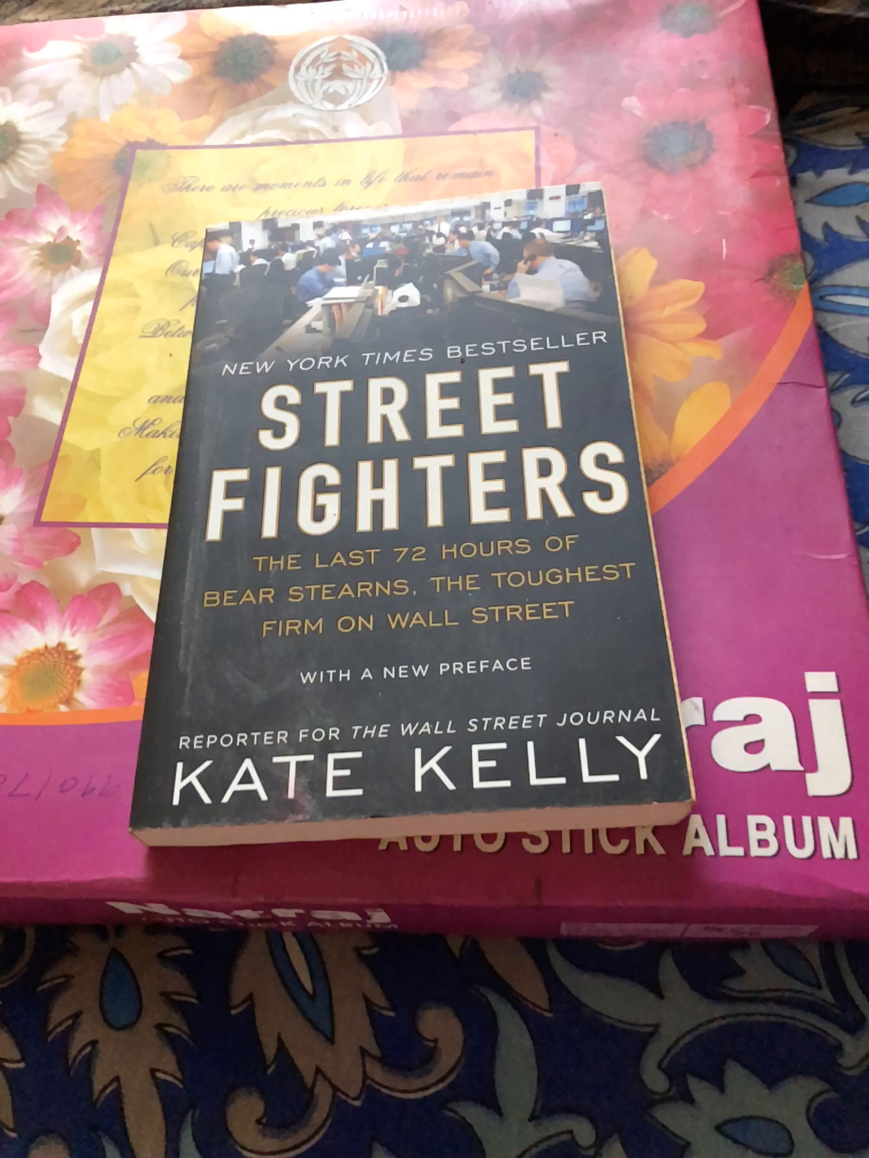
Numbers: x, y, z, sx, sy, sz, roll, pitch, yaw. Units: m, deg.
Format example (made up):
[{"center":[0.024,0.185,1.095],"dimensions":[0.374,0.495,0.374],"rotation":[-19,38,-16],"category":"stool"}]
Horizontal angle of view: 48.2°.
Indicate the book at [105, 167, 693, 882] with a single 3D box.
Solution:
[{"center":[-0.011,-0.025,0.287],"dimensions":[0.140,0.030,0.210],"rotation":[-5,63,8],"category":"book"}]
